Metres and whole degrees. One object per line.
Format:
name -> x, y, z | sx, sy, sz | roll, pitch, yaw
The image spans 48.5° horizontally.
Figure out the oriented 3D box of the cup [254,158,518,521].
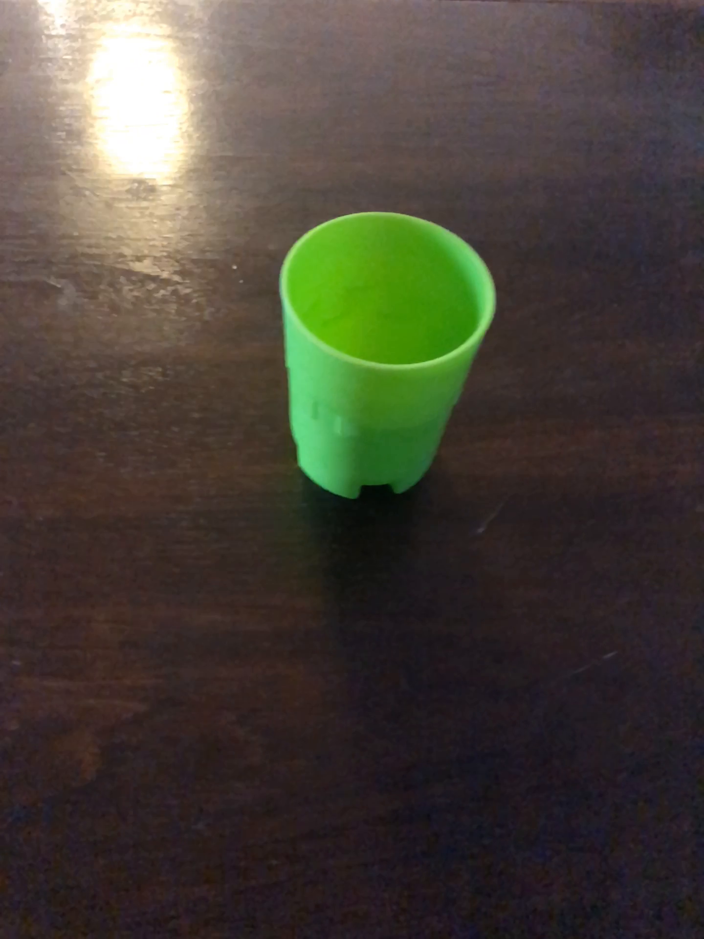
cup -> 0.010, -0.040, 0.268 | 0.070, 0.090, 0.070 | 2, 57, -4
